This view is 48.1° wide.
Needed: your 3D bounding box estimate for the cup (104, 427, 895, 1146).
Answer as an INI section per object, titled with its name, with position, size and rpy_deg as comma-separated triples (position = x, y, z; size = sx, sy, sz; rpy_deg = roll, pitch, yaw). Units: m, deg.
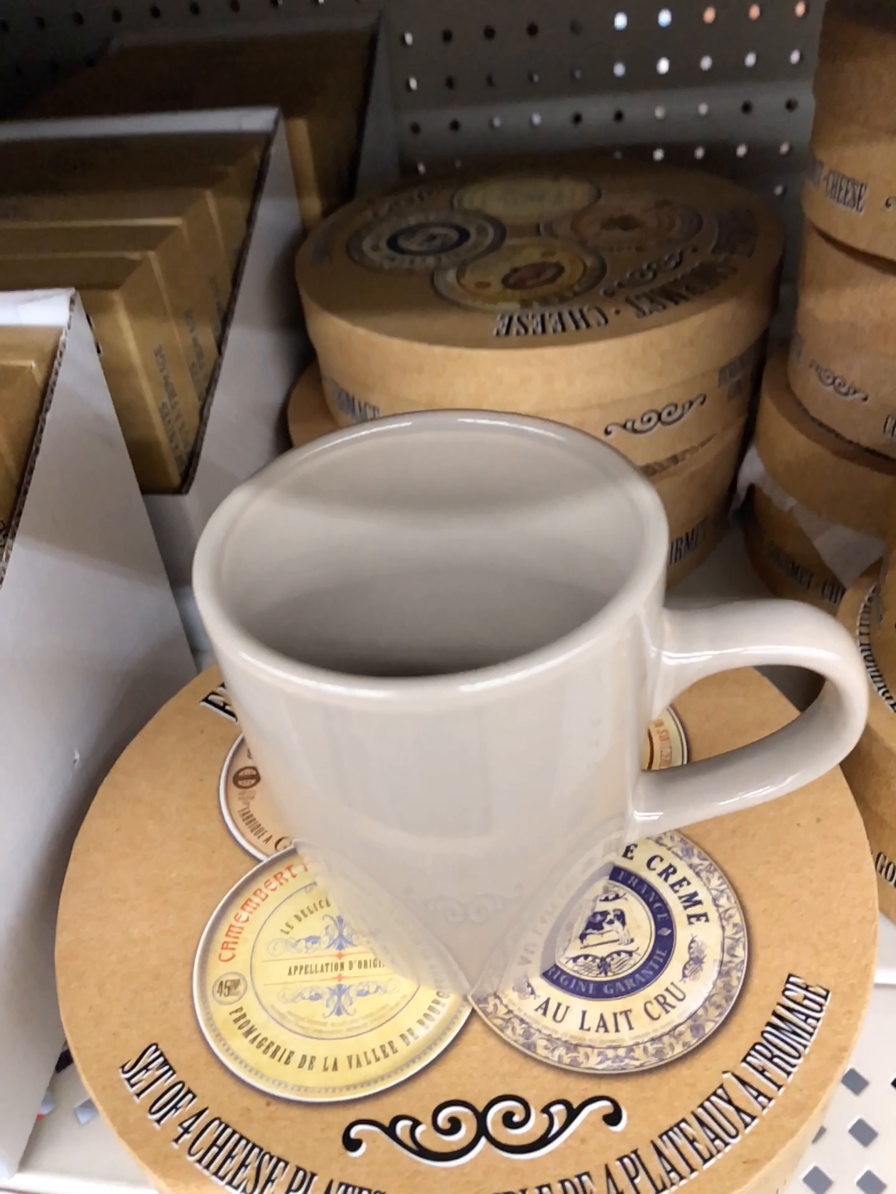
[cup]
position = 0.025, 0.033, 0.204
size = 0.130, 0.100, 0.090
rpy_deg = 3, 40, 11
